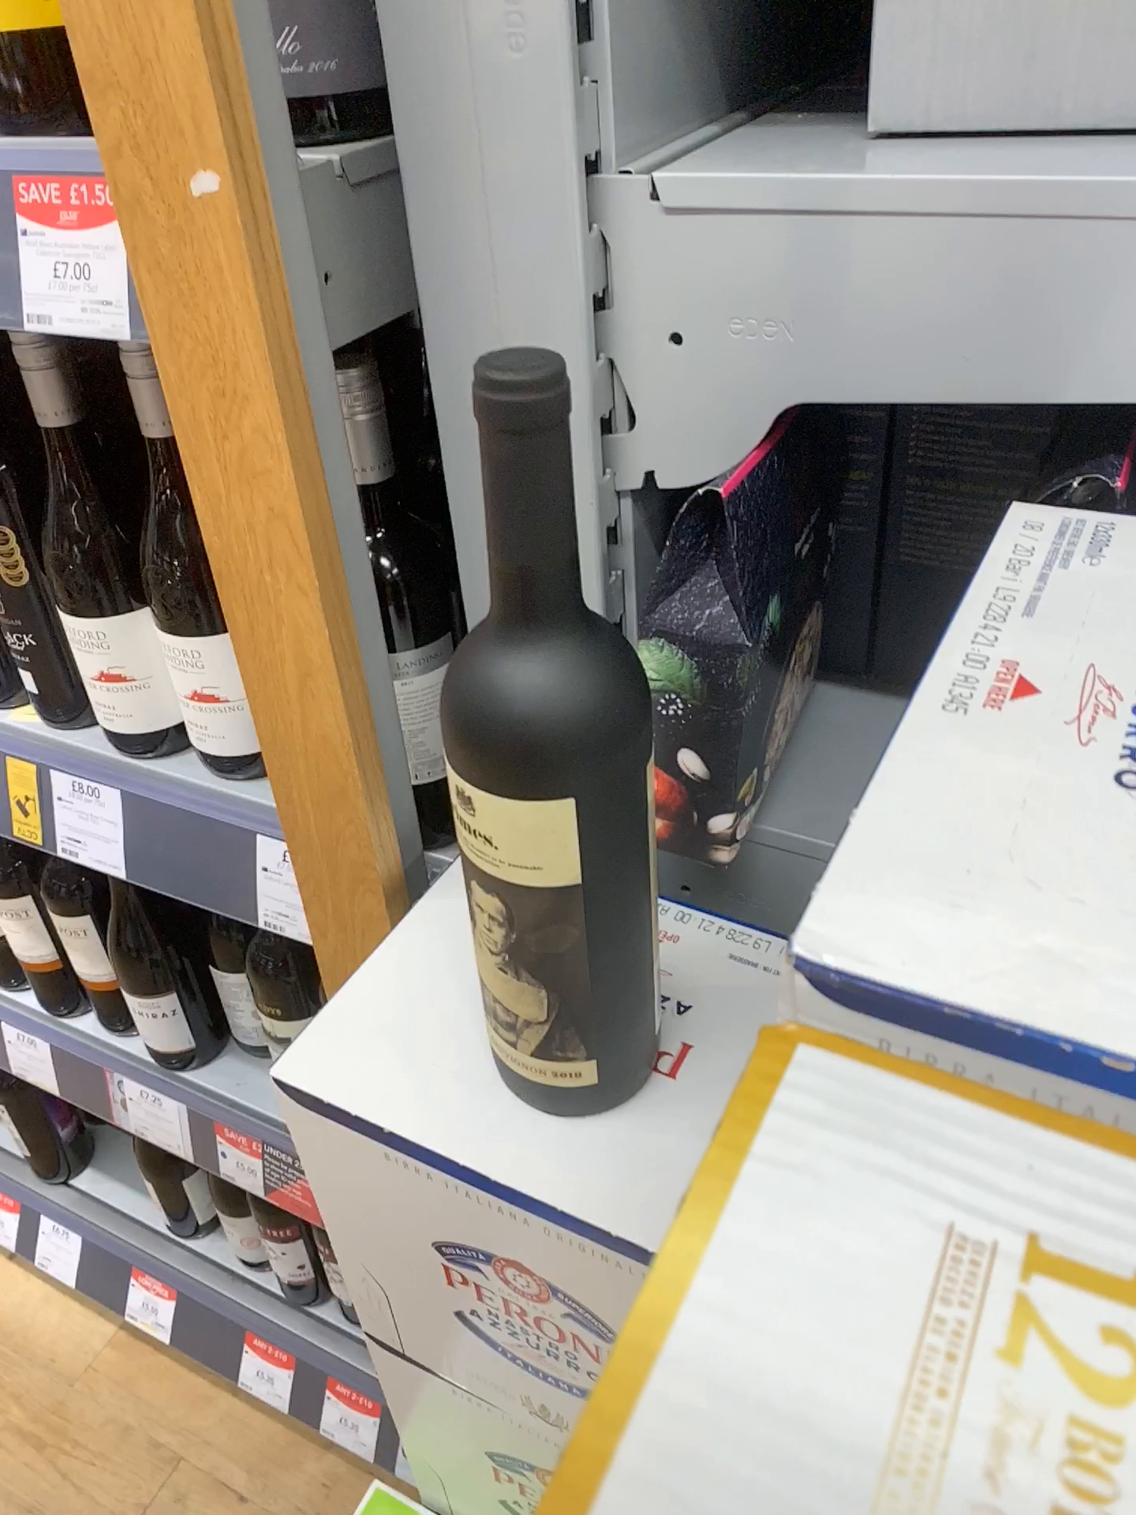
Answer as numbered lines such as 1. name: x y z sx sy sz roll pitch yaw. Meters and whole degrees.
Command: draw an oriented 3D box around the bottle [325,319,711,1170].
1. bottle: -0.005 0.010 0.407 0.075 0.288 0.079 -3 36 2
